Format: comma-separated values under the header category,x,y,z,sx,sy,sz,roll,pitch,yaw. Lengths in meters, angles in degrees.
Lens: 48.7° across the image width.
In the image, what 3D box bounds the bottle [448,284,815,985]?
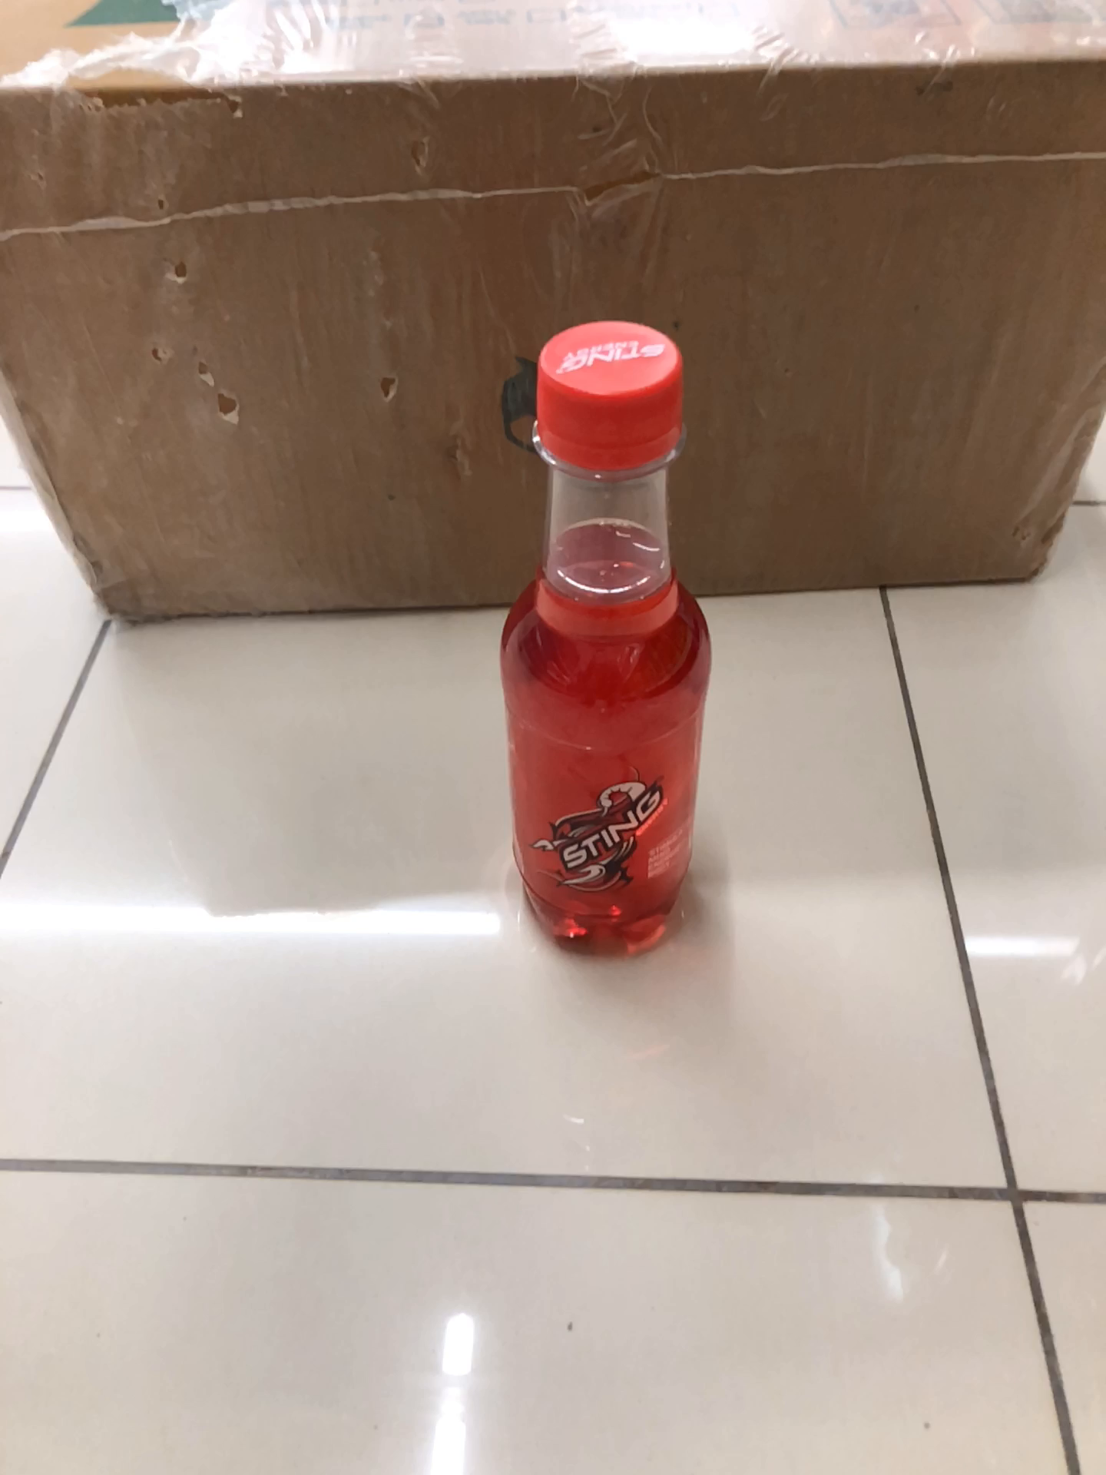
category,x,y,z,sx,sy,sz,roll,pitch,yaw
bottle,0.019,-0.016,0.321,0.070,0.179,0.070,-1,45,1
